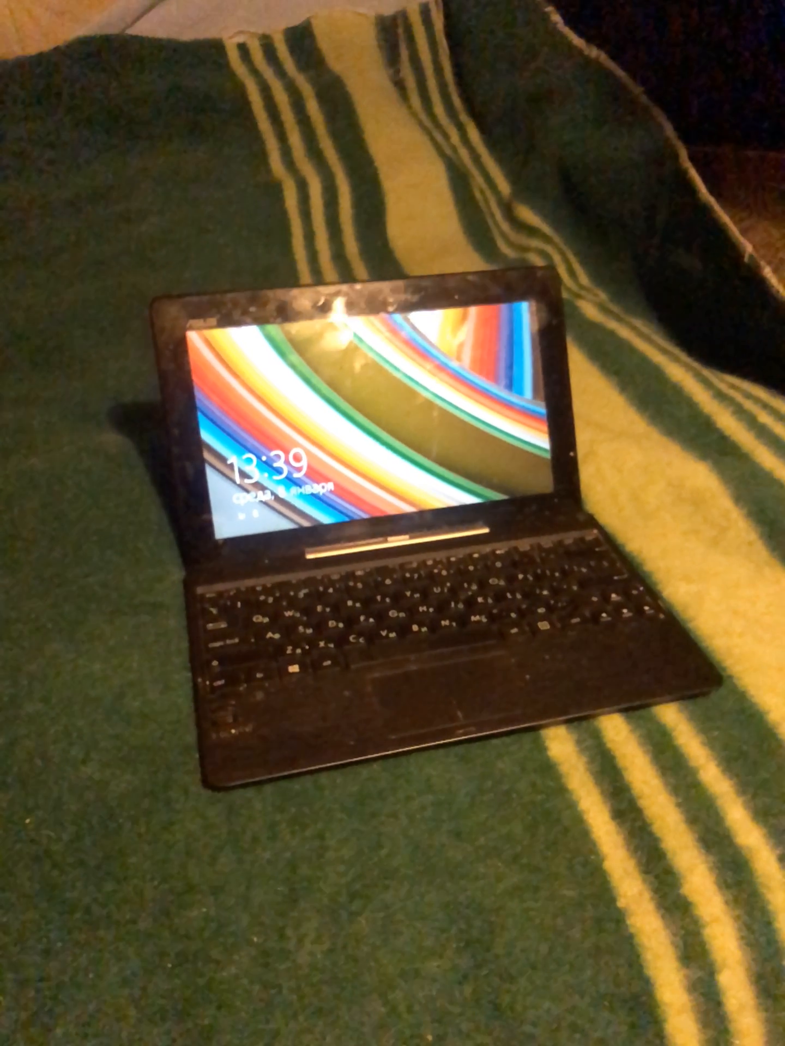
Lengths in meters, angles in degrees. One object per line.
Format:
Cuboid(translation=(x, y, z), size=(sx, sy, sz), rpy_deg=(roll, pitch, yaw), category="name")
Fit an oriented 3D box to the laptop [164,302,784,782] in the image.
Cuboid(translation=(0.016, -0.015, 0.483), size=(0.257, 0.116, 0.258), rpy_deg=(-8, 37, -12), category="laptop")
